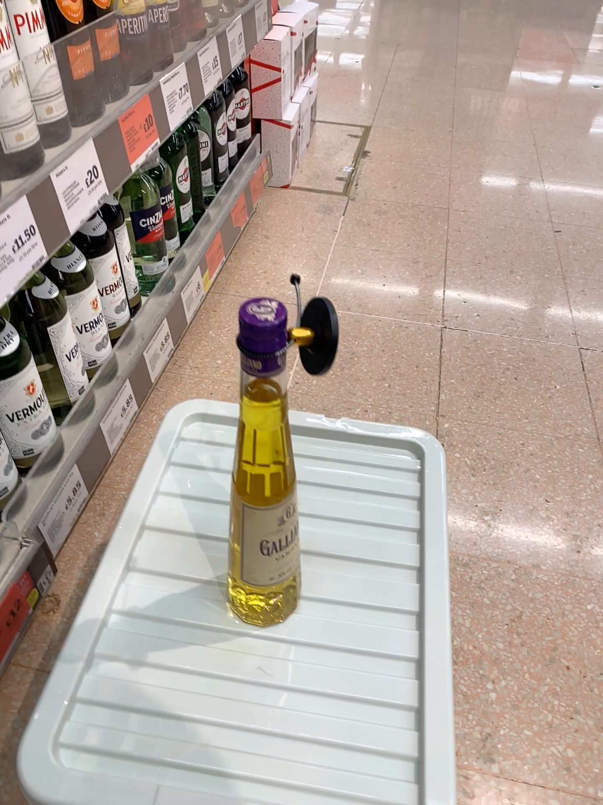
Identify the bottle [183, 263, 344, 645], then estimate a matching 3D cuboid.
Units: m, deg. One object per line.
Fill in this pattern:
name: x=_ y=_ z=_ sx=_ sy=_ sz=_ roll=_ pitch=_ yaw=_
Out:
bottle: x=-0.029 y=0.067 z=0.495 sx=0.070 sy=0.347 sz=0.073 roll=2 pitch=43 yaw=-2
